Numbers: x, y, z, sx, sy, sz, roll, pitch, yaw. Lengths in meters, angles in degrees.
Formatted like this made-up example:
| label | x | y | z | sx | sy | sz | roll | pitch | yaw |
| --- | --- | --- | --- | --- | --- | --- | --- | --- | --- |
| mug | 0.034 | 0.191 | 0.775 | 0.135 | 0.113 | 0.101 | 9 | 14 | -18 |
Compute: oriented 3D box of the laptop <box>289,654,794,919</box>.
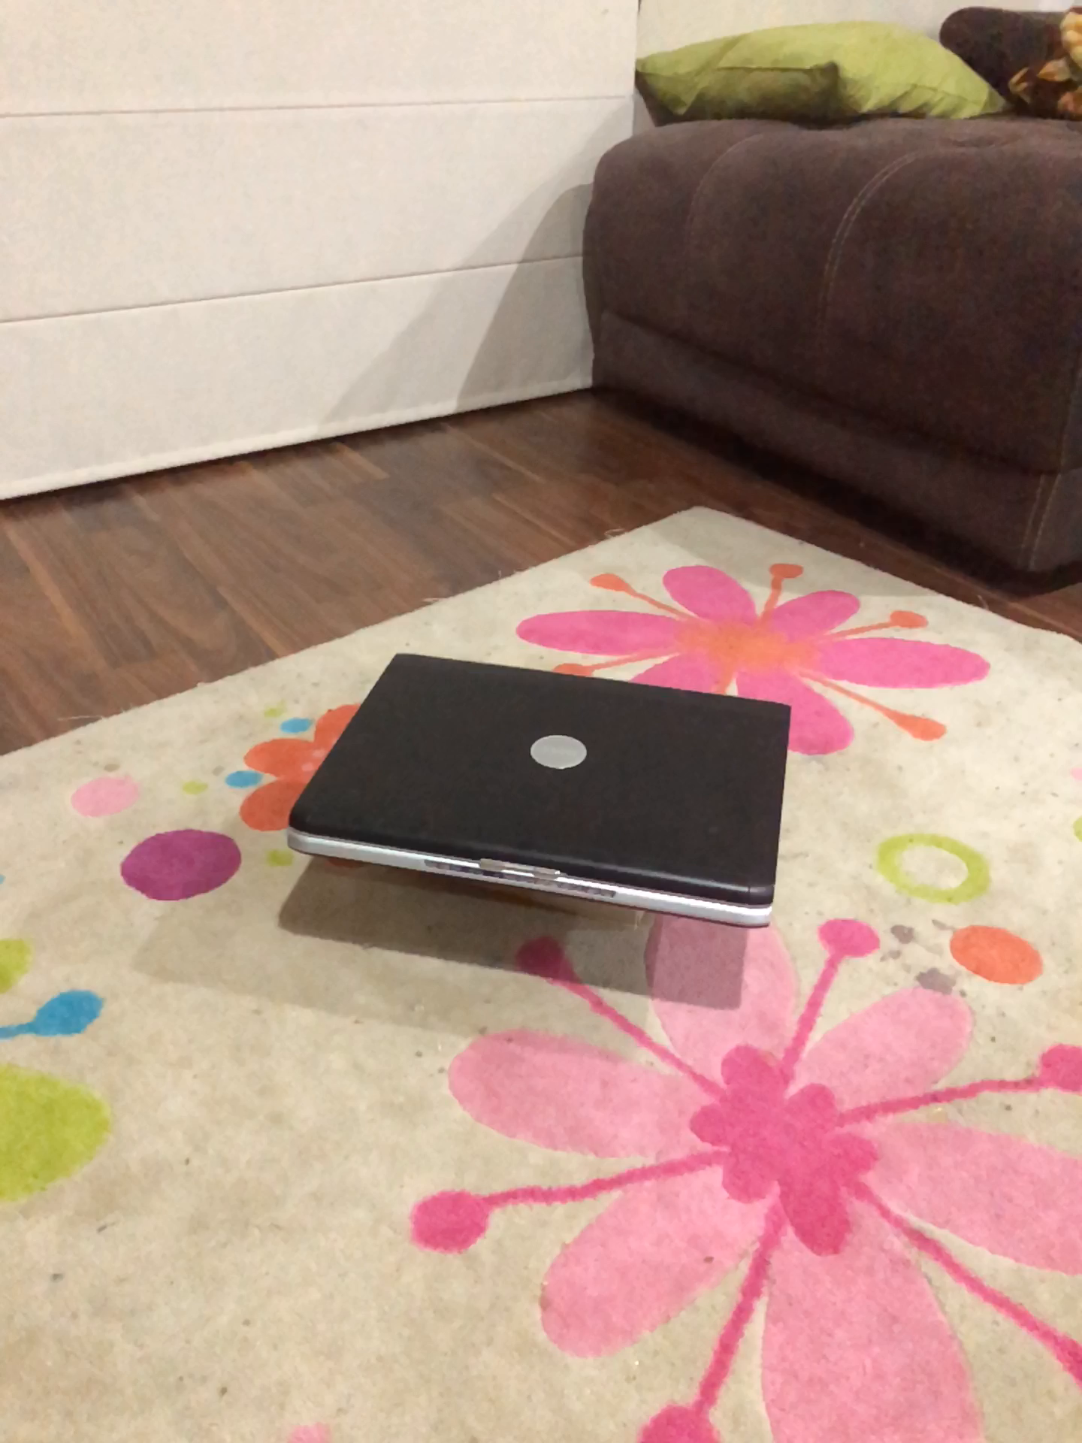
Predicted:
| label | x | y | z | sx | sy | sz | roll | pitch | yaw |
| --- | --- | --- | --- | --- | --- | --- | --- | --- | --- |
| laptop | 0.011 | 0.037 | 0.934 | 0.353 | 0.015 | 0.233 | 7 | 38 | 13 |
